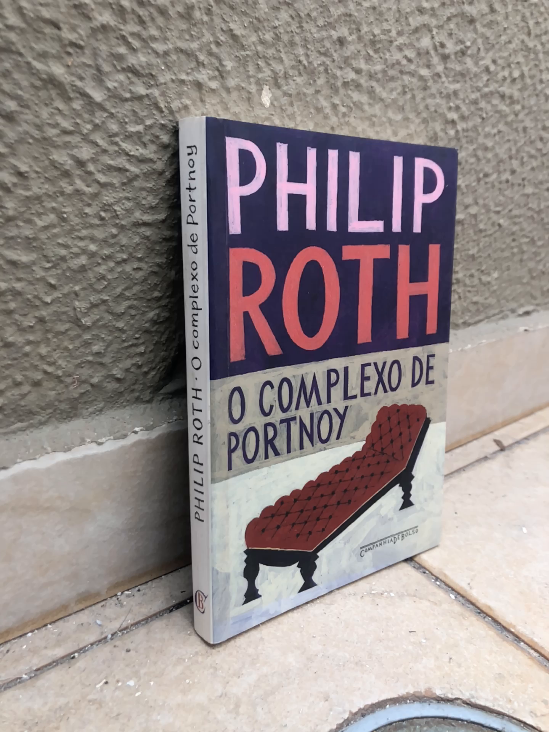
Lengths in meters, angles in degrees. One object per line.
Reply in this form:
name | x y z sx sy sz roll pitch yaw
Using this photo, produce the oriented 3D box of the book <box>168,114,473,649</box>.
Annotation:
book | 0.022 0.003 0.244 0.126 0.179 0.023 -9 16 -35
